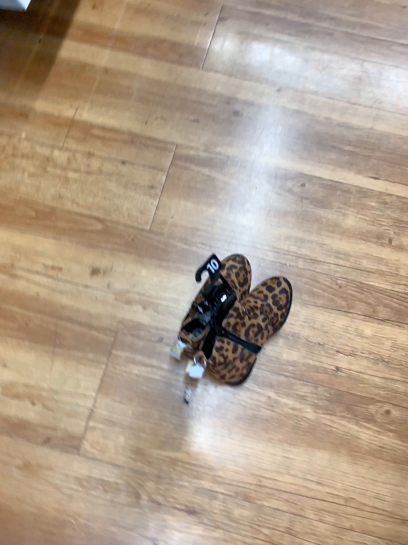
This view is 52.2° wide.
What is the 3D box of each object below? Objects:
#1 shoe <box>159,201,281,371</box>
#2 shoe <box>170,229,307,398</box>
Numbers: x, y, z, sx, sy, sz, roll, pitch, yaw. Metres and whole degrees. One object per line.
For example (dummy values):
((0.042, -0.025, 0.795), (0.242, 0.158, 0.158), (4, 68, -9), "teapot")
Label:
((0.021, 0.023, 0.556), (0.070, 0.120, 0.190), (26, 72, 7), "shoe")
((0.055, 0.055, 0.562), (0.070, 0.120, 0.180), (20, 68, 36), "shoe")
